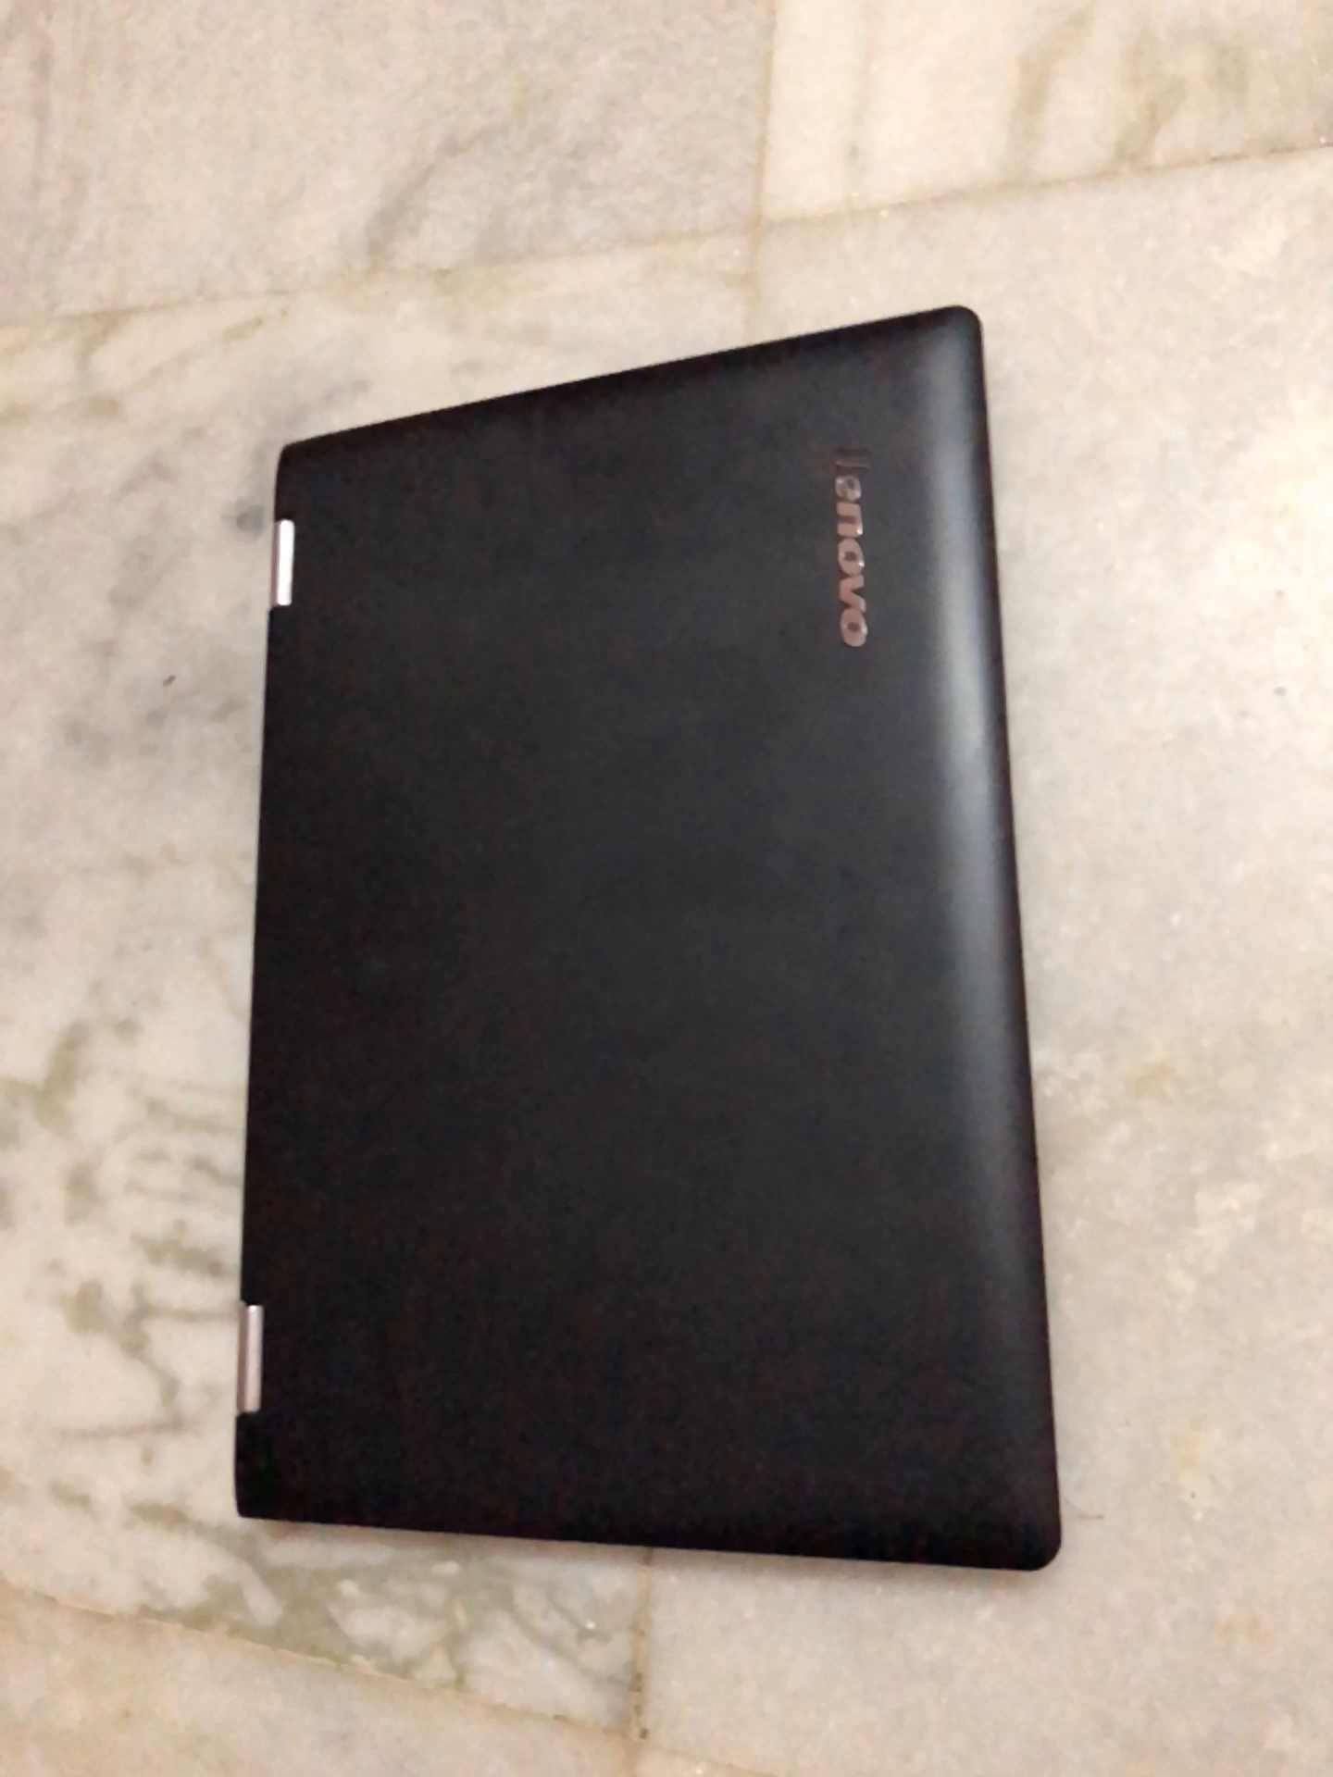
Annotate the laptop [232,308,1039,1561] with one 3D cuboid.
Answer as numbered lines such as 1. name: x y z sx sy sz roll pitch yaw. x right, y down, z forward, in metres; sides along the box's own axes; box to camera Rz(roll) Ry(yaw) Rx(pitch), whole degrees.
1. laptop: -0.019 0.007 0.417 0.222 0.002 0.328 -5 77 19
